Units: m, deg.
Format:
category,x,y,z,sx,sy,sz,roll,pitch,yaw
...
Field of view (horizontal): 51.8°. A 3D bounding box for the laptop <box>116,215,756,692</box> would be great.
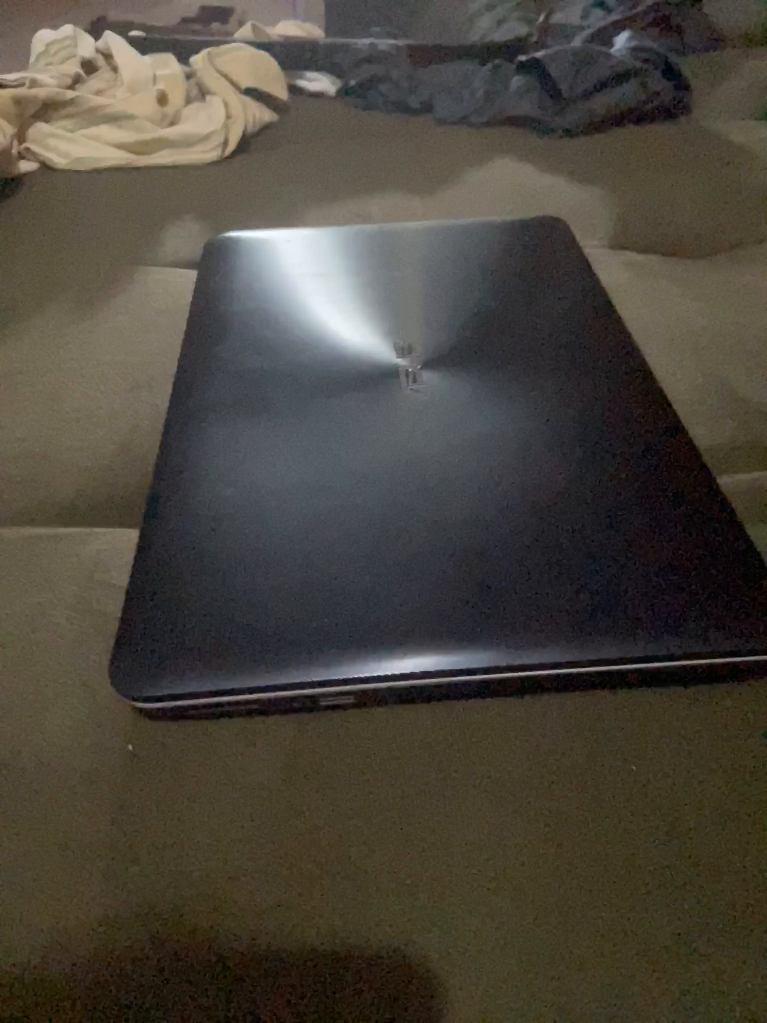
category,x,y,z,sx,sy,sz,roll,pitch,yaw
laptop,0.010,-0.072,0.423,0.234,0.004,0.371,-4,44,-1
